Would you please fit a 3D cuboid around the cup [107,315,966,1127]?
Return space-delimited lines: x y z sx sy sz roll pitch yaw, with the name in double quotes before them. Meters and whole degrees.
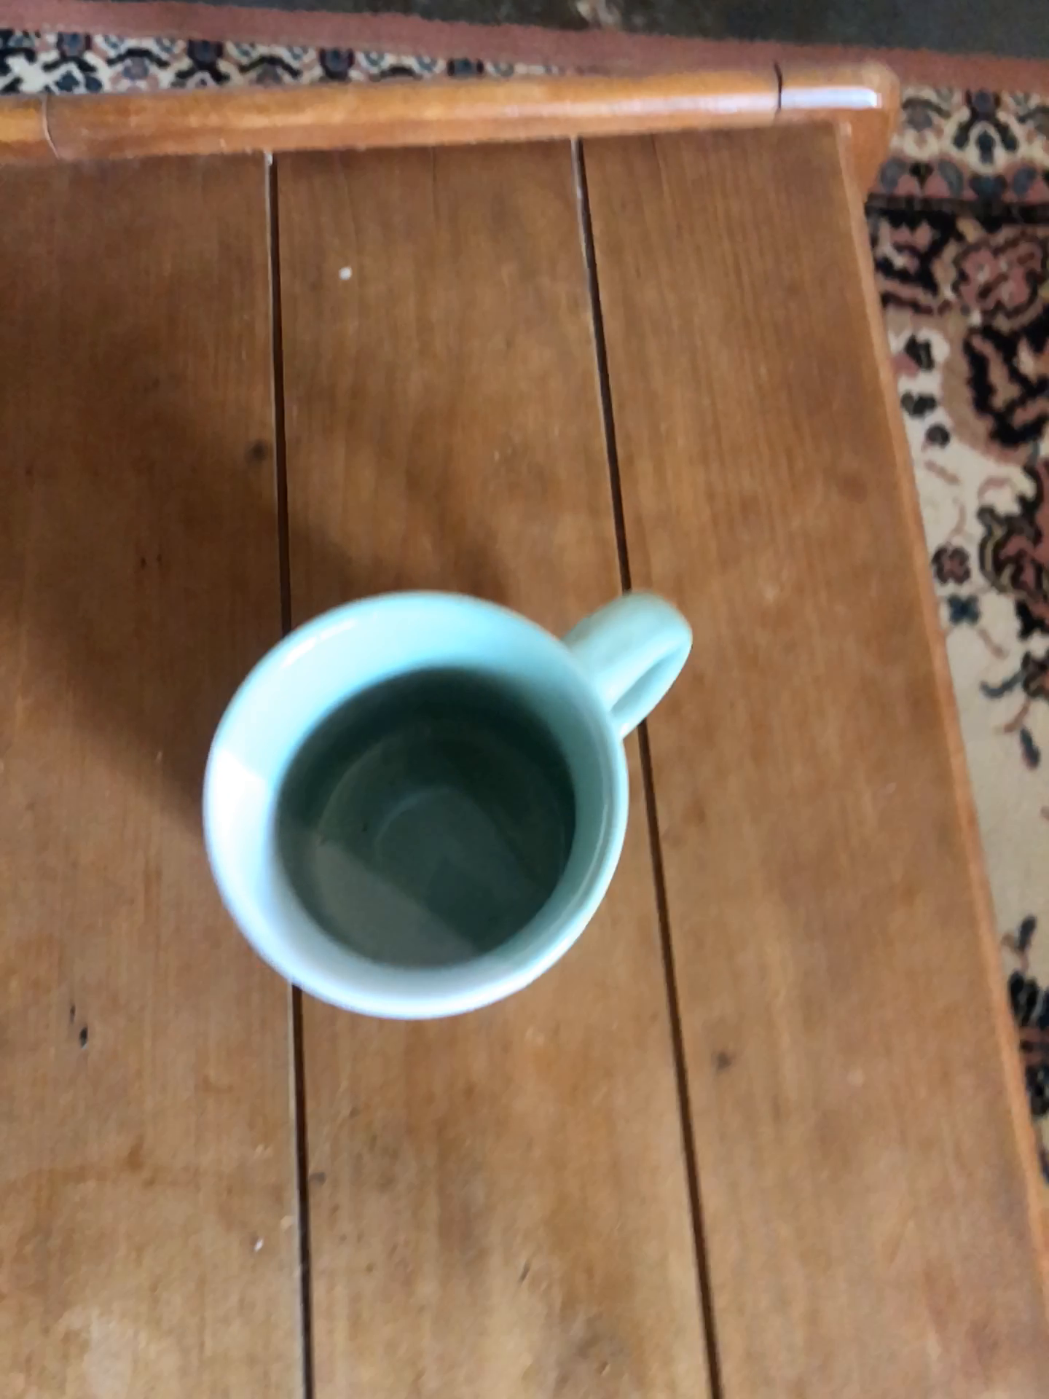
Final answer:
"cup" 0.003 0.008 0.247 0.130 0.090 0.080 -40 80 -10
